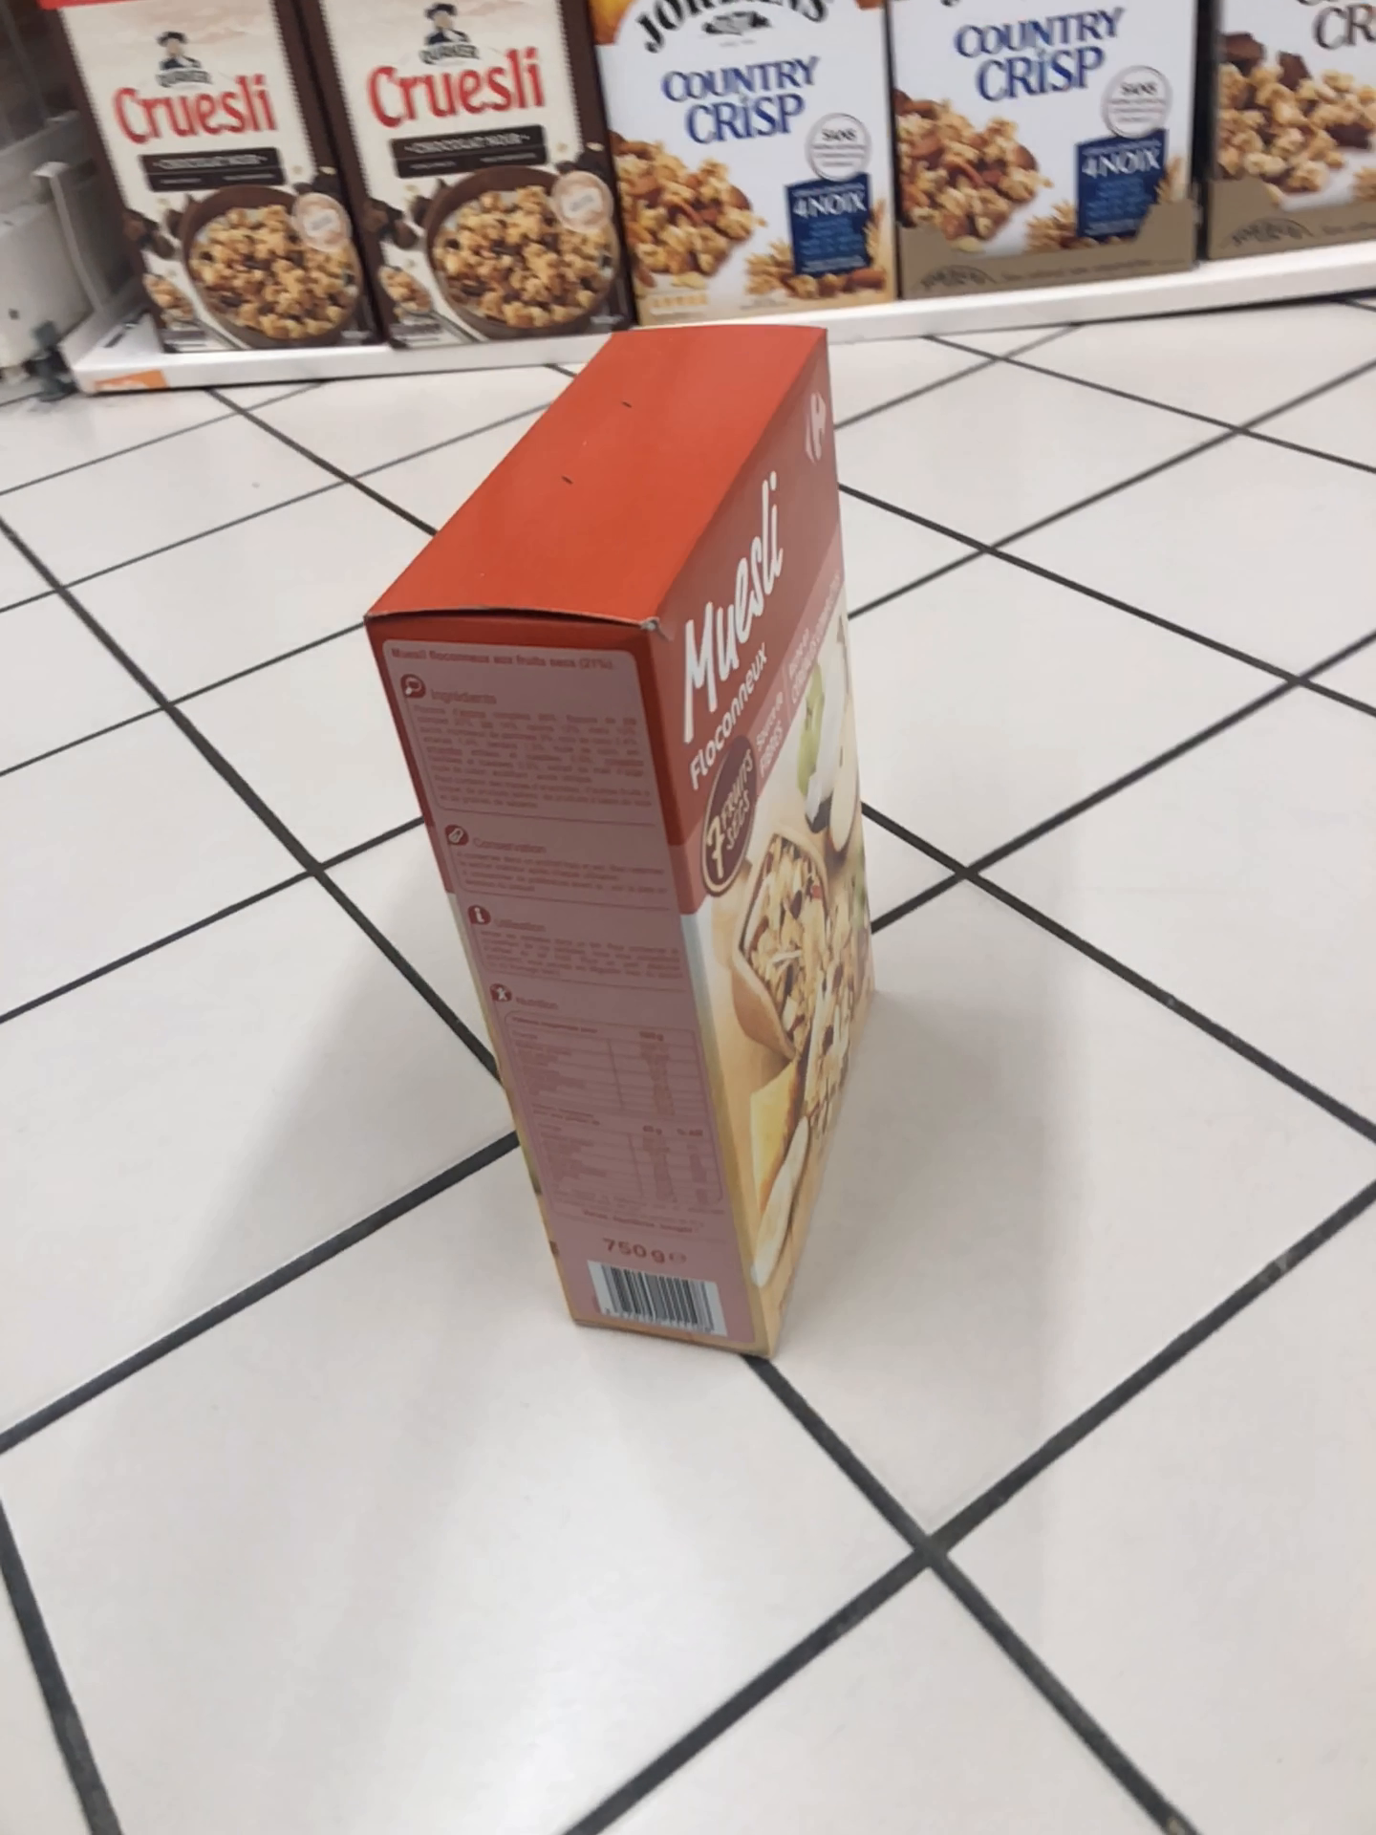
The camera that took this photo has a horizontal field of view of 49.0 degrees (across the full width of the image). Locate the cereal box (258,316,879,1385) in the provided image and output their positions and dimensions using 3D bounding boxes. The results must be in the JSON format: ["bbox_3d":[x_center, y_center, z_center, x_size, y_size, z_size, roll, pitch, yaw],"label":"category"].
[{"bbox_3d":[-0.008,-0.018,0.426,0.080,0.239,0.171,5,40,17],"label":"cereal box"}]
